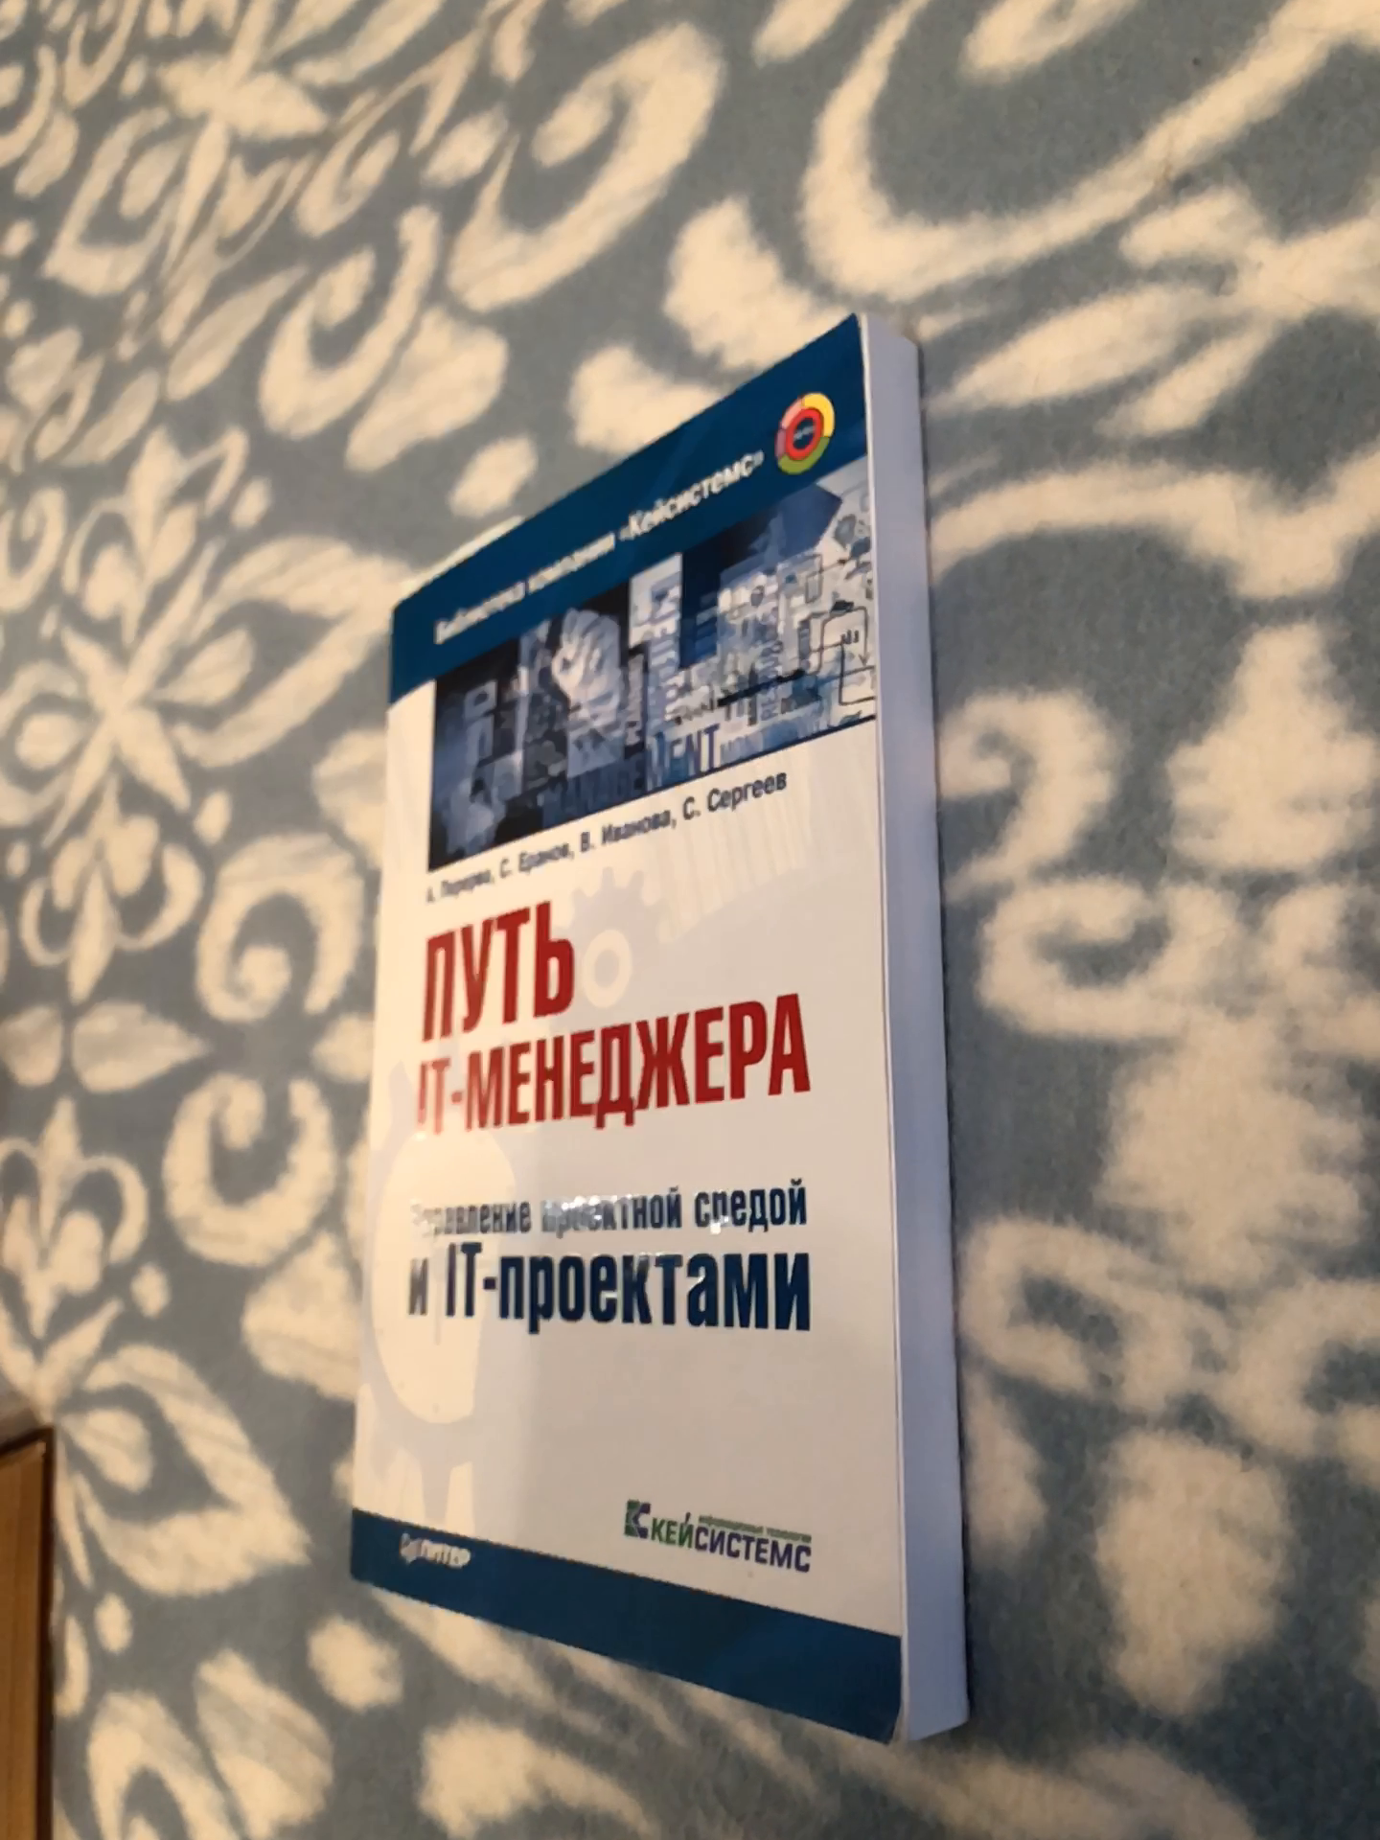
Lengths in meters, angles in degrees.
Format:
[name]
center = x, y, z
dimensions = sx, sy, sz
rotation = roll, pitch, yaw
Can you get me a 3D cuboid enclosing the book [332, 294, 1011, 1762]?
[book]
center = -0.017, 0.021, 0.309
dimensions = 0.173, 0.019, 0.228
rotation = -15, 71, 48
